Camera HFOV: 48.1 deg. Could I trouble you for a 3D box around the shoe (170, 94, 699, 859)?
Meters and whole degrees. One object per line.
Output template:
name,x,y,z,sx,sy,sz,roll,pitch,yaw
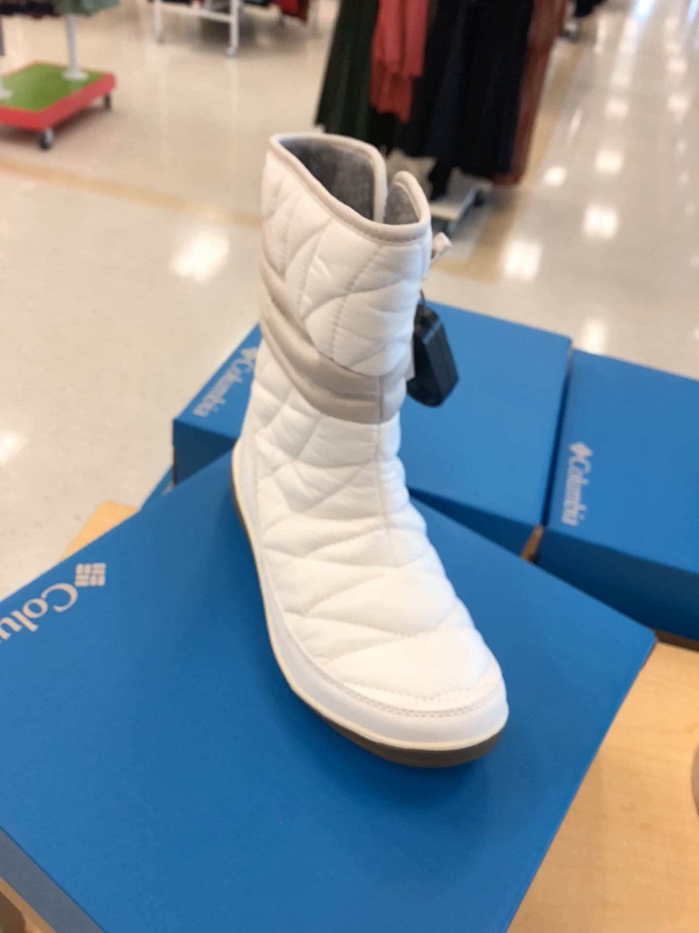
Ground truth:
shoe,0.005,-0.013,0.366,0.104,0.228,0.262,-11,43,-22
